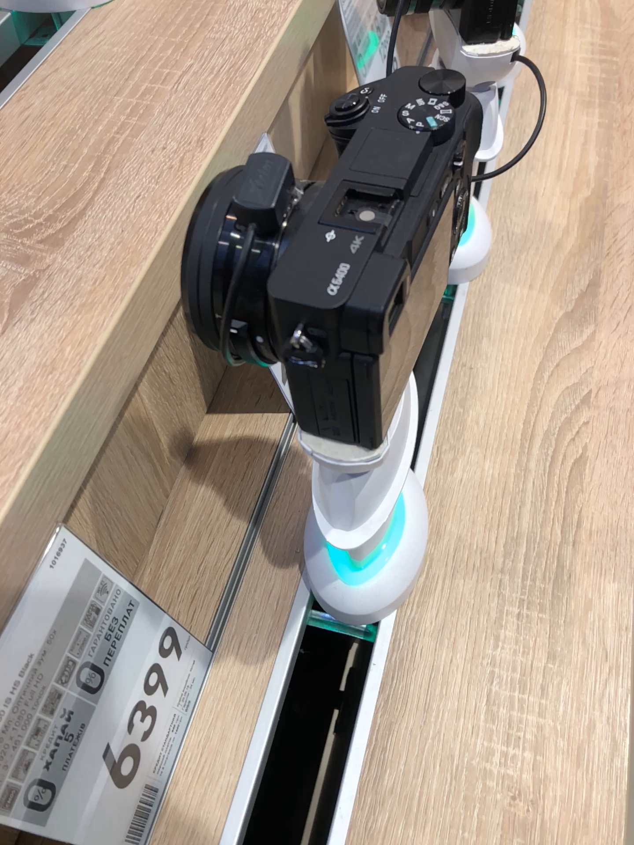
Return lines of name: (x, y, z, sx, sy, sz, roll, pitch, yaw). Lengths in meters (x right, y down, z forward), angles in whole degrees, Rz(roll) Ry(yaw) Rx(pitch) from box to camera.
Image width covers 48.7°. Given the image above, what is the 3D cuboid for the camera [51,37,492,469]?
camera: (-0.005, -0.064, 0.245, 0.098, 0.069, 0.122, 15, 58, 15)
